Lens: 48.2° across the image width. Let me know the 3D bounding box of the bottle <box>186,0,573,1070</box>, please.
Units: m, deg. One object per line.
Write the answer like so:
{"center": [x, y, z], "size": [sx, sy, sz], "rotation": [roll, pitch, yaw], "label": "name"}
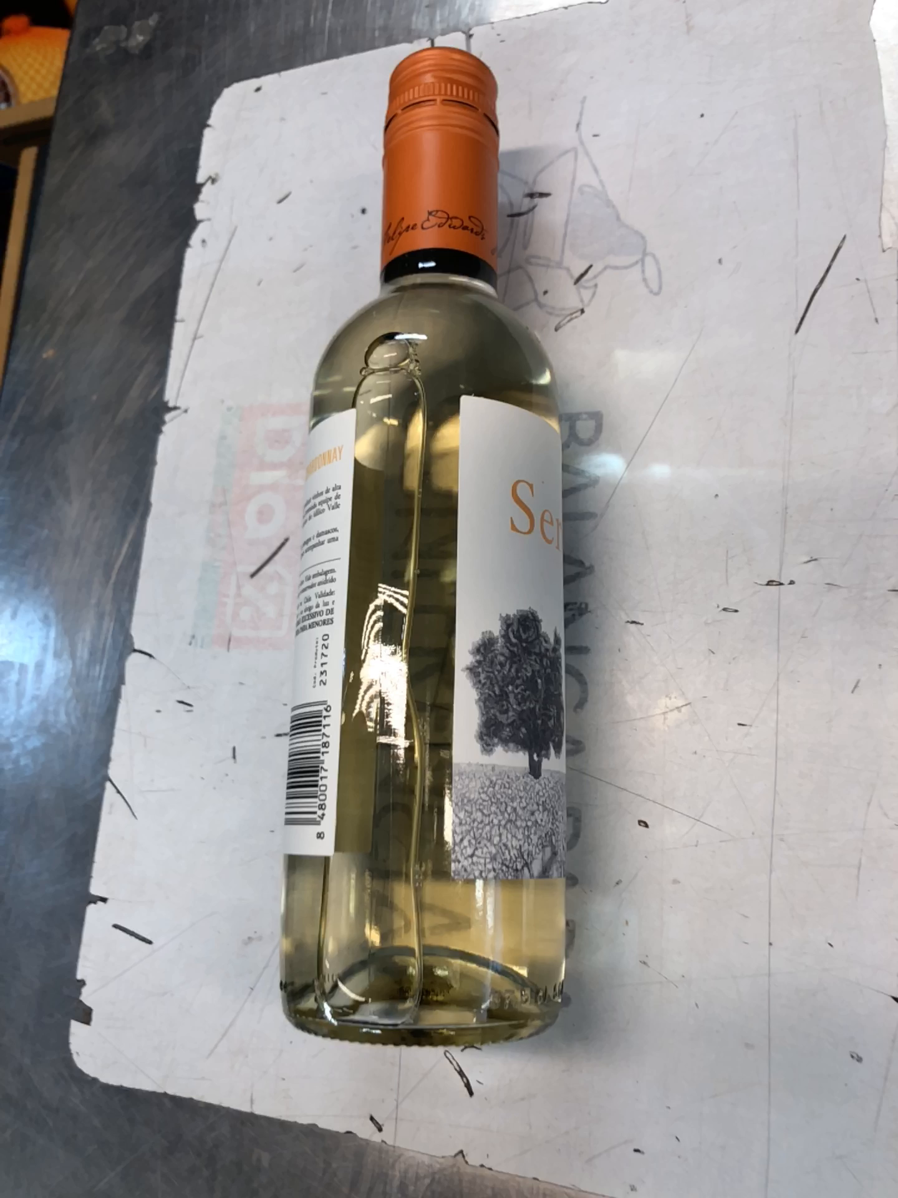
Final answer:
{"center": [-0.010, -0.039, 0.247], "size": [0.070, 0.070, 0.270], "rotation": [1, 77, 0], "label": "bottle"}
